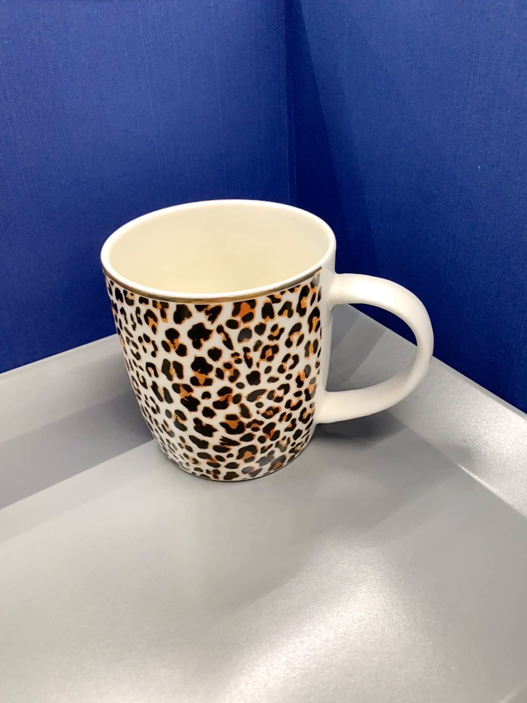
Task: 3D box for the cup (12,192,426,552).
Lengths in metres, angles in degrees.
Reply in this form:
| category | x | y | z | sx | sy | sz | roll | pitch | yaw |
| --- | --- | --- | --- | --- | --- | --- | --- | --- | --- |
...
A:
| category | x | y | z | sx | sy | sz | roll | pitch | yaw |
| --- | --- | --- | --- | --- | --- | --- | --- | --- | --- |
| cup | -0.005 | -0.002 | 0.226 | 0.126 | 0.095 | 0.099 | 6 | 33 | 14 |
